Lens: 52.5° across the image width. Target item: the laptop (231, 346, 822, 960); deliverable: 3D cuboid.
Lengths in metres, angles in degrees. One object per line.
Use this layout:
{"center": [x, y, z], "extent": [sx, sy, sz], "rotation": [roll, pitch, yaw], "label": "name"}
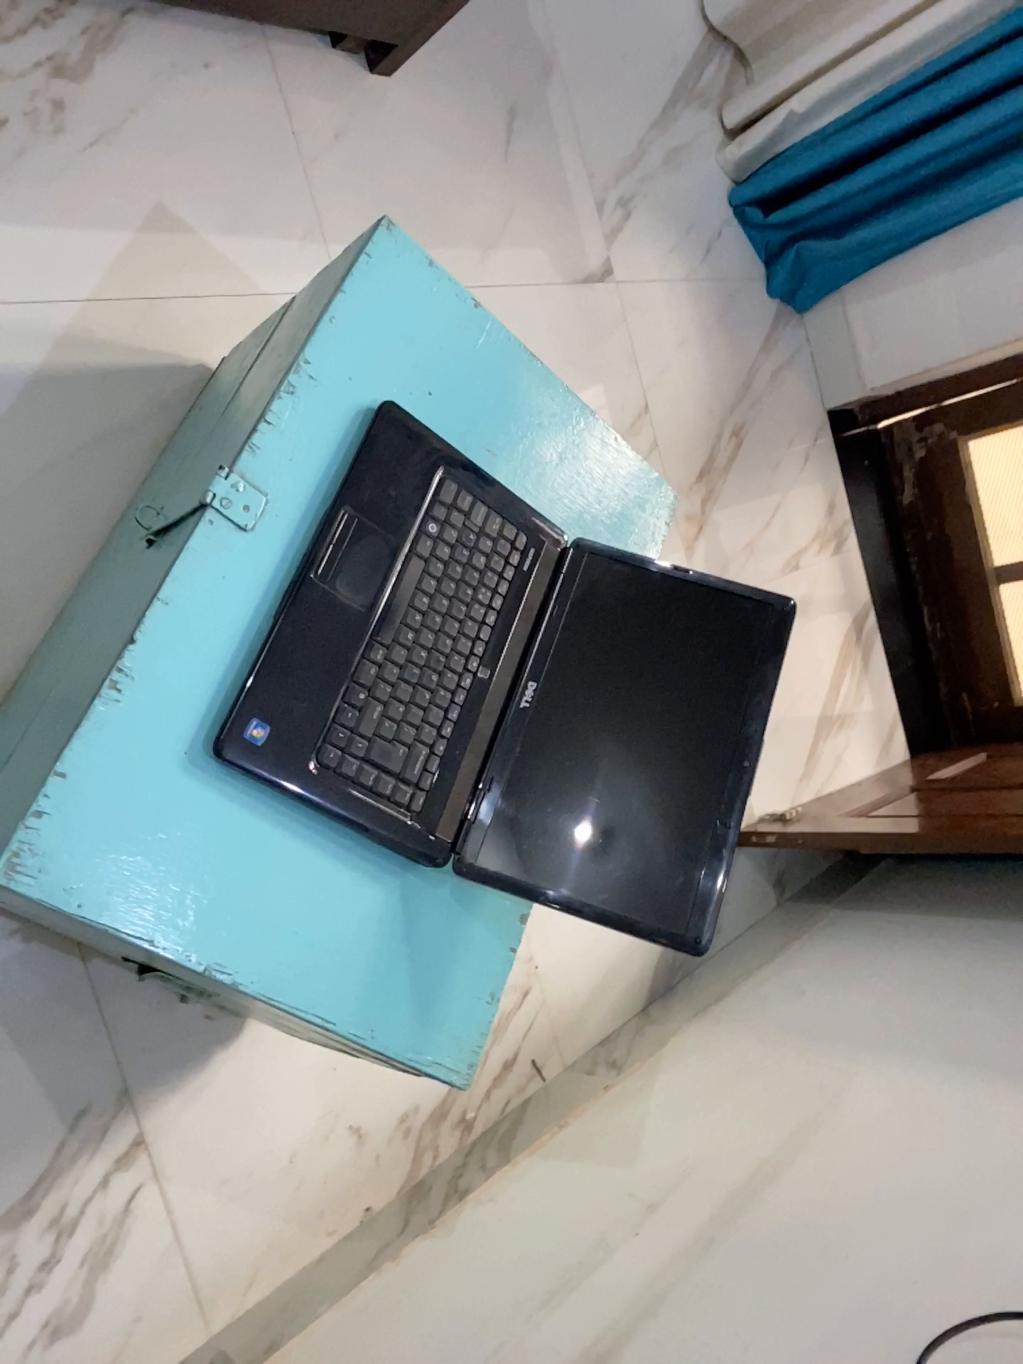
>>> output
{"center": [0.043, -0.008, 0.927], "extent": [0.413, 0.162, 0.363], "rotation": [33, 64, -28], "label": "laptop"}
